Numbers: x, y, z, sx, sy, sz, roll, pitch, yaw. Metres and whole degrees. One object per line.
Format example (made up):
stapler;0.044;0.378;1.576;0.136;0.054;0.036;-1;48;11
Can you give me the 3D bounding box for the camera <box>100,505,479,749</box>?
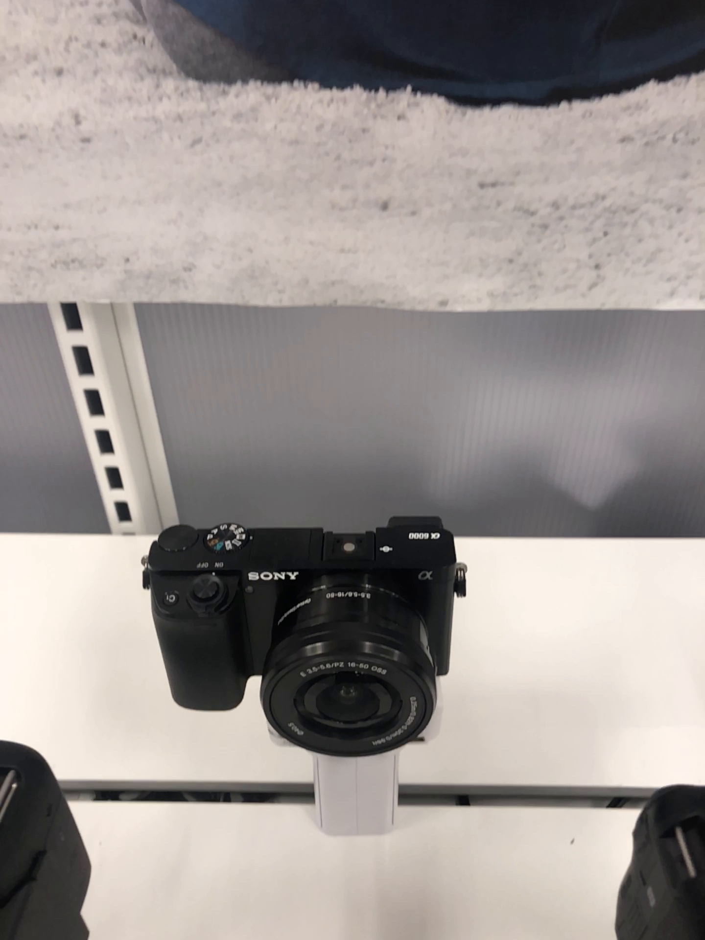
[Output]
camera;-0.020;0.057;0.292;0.120;0.058;0.068;0;39;0
